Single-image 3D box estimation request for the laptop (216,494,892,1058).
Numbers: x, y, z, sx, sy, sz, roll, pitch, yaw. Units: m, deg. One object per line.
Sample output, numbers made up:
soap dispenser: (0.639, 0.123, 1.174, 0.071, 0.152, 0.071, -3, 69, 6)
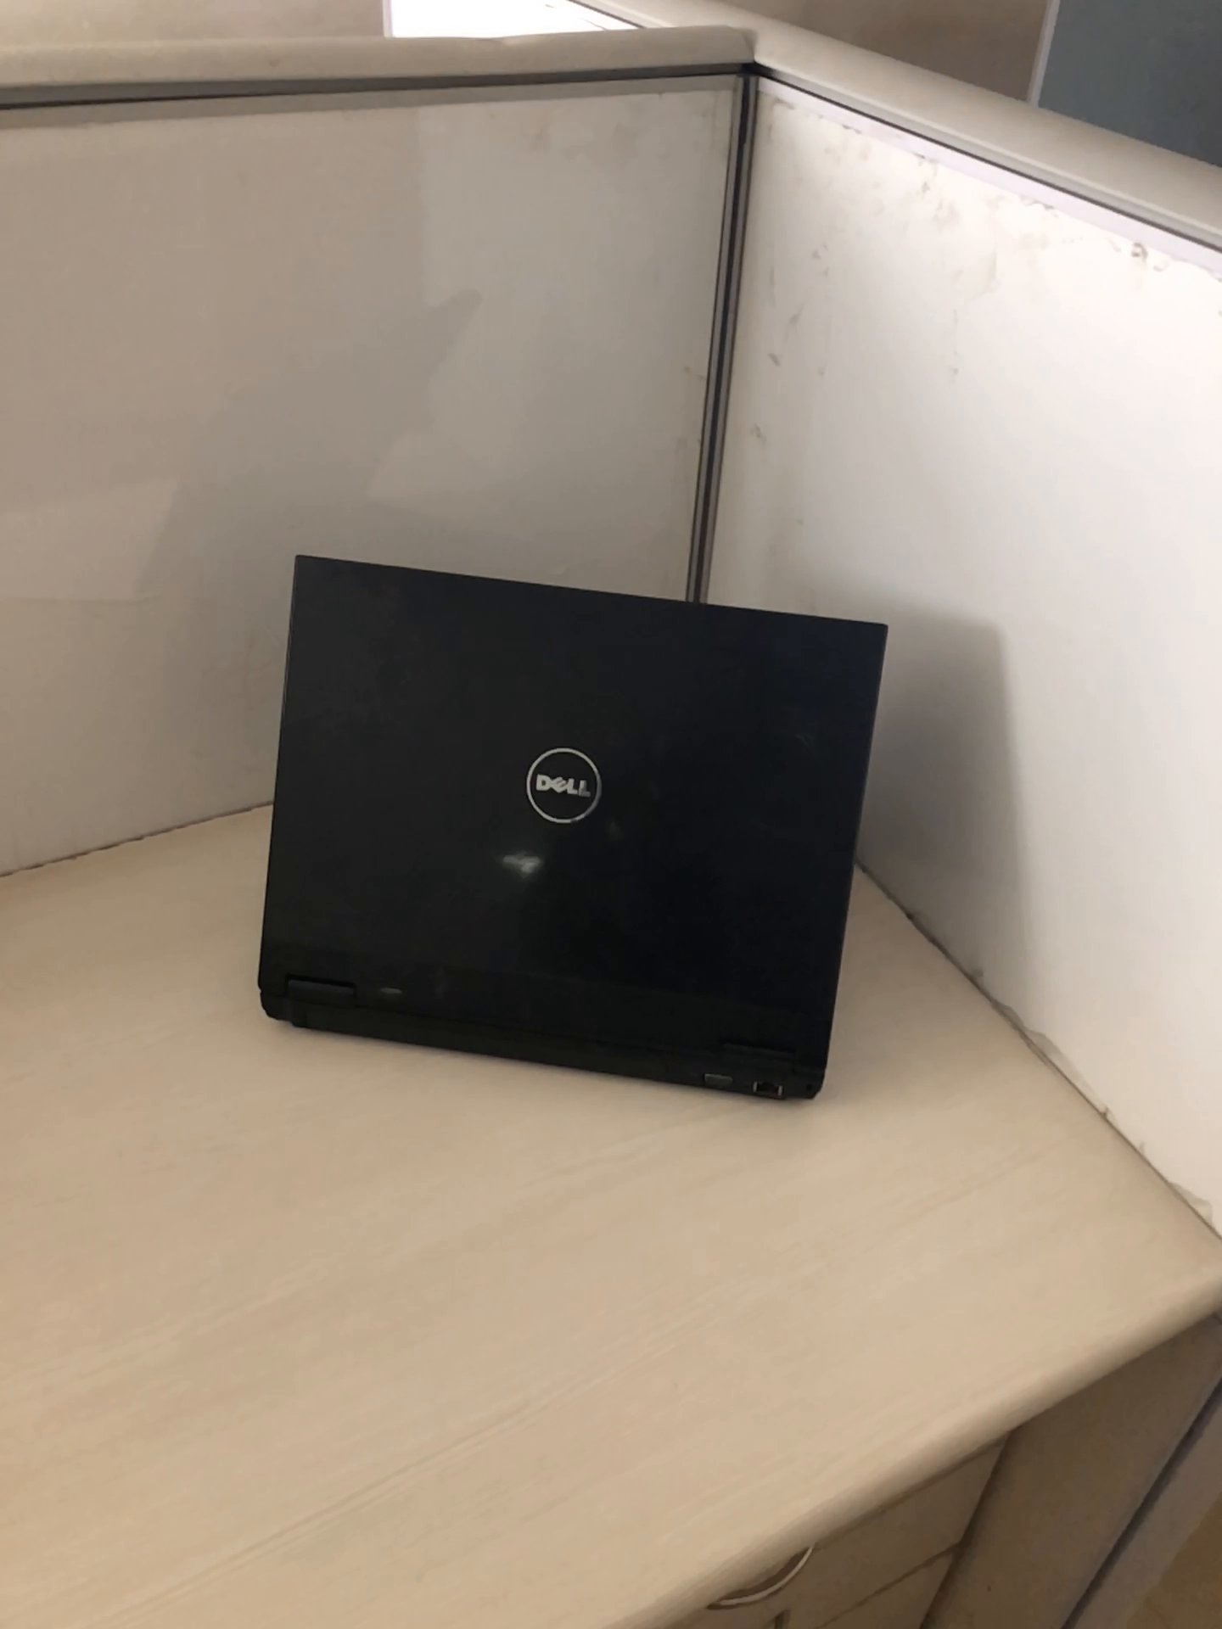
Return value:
laptop: (-0.016, -0.032, 0.747, 0.304, 0.190, 0.231, 8, 36, 5)
